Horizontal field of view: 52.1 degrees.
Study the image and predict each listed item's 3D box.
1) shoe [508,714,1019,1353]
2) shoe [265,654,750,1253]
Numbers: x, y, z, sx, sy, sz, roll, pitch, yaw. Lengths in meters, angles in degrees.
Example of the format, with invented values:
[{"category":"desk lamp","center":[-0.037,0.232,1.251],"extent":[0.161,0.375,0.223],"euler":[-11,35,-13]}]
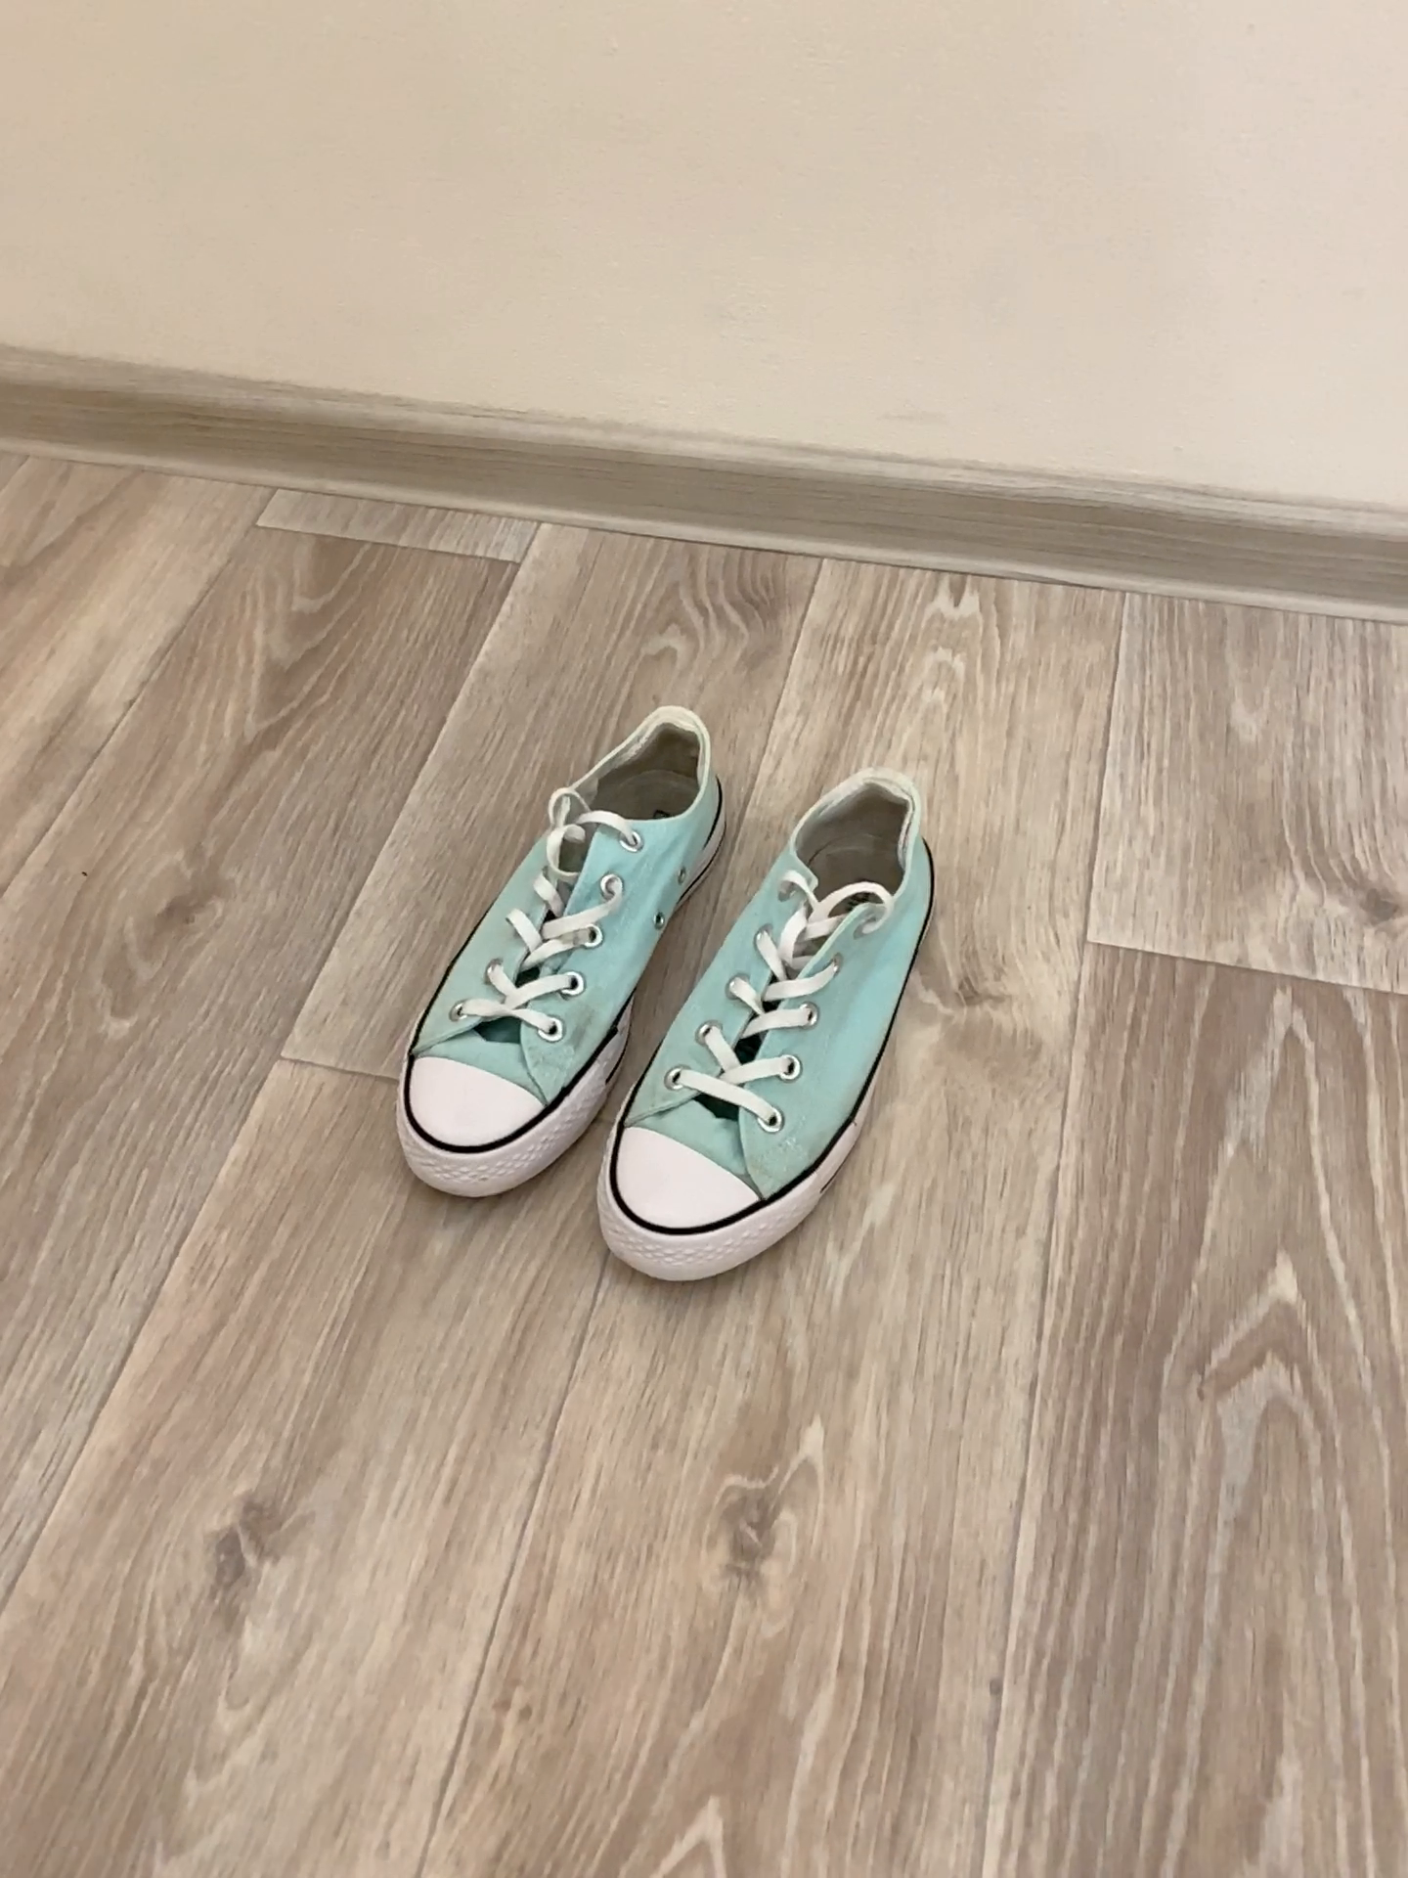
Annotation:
[{"category":"shoe","center":[0.033,0.026,0.583],"extent":[0.100,0.060,0.251],"euler":[21,57,18]},{"category":"shoe","center":[-0.068,-0.006,0.602],"extent":[0.092,0.060,0.251],"euler":[16,55,15]}]
